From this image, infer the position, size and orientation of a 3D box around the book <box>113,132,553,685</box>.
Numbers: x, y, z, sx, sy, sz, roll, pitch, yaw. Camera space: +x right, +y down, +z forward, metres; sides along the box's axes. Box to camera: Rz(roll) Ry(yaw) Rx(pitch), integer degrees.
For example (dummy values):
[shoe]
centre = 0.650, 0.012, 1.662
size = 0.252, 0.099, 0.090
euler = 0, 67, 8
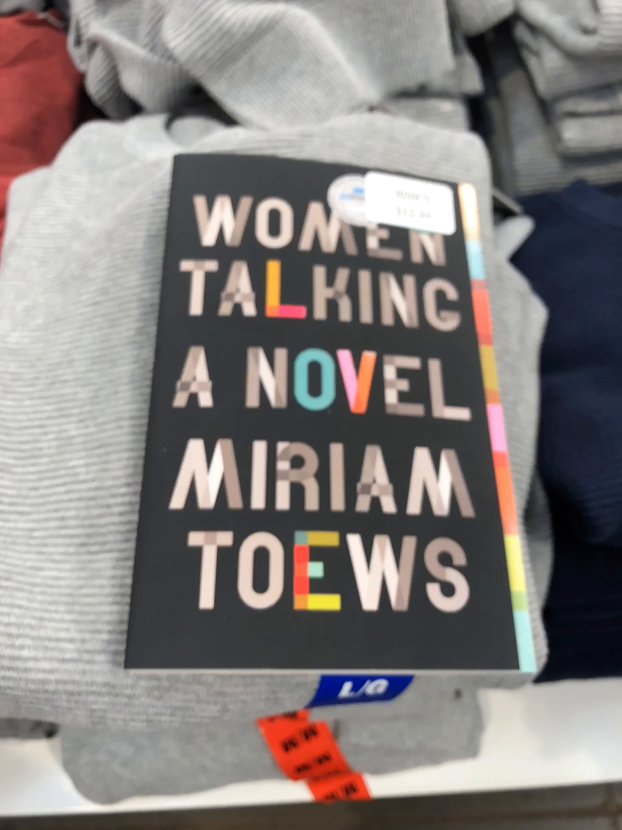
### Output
[book]
centre = 0.007, -0.012, 0.265
size = 0.135, 0.020, 0.211
euler = 2, 67, -6
